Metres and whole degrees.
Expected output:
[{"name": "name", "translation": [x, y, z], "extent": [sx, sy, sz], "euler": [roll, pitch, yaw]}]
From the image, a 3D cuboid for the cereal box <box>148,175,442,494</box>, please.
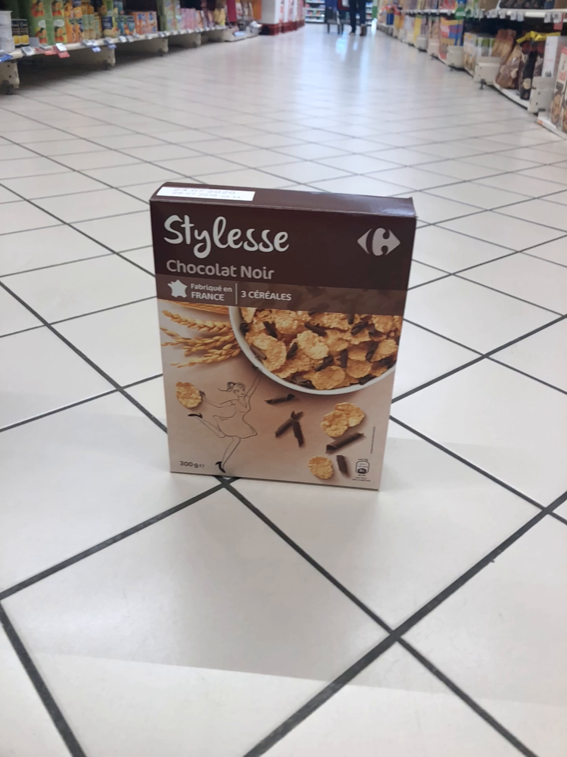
[{"name": "cereal box", "translation": [0.005, -0.030, 0.511], "extent": [0.200, 0.239, 0.070], "euler": [5, 30, 4]}]
